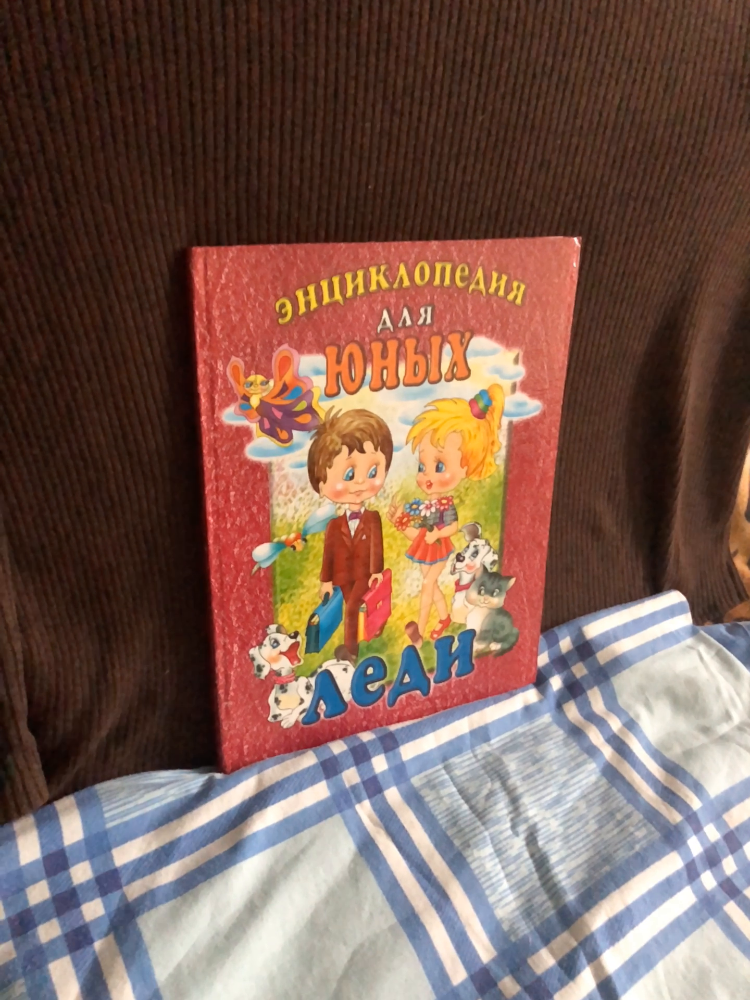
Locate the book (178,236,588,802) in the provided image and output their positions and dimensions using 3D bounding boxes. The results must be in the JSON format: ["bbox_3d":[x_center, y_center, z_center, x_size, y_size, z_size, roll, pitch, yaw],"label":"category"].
[{"bbox_3d":[0.012,0.008,0.476,0.231,0.303,0.020,-10,24,-28],"label":"book"}]
